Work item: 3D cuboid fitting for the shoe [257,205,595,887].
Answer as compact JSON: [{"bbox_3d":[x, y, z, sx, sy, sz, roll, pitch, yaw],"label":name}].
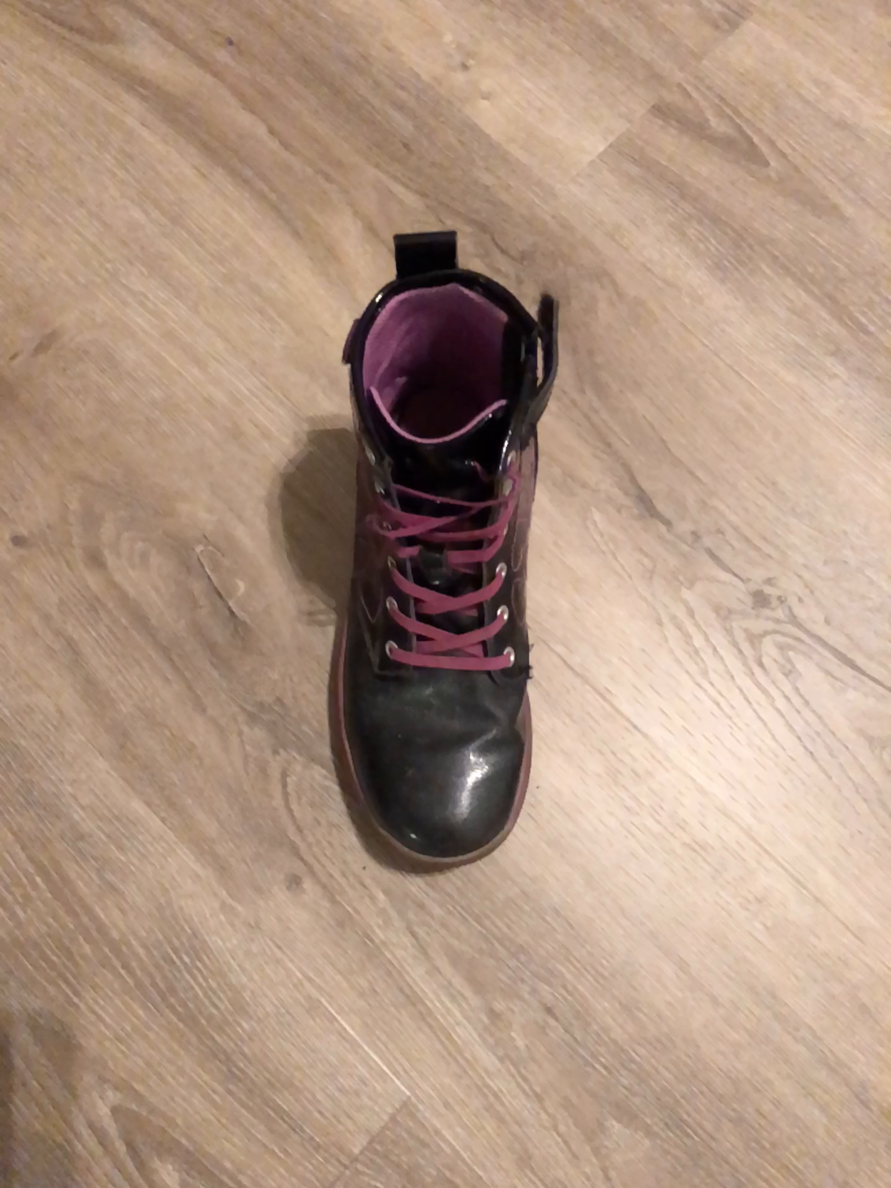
[{"bbox_3d":[-0.003,-0.007,0.394,0.100,0.150,0.230,1,75,0],"label":"shoe"}]
